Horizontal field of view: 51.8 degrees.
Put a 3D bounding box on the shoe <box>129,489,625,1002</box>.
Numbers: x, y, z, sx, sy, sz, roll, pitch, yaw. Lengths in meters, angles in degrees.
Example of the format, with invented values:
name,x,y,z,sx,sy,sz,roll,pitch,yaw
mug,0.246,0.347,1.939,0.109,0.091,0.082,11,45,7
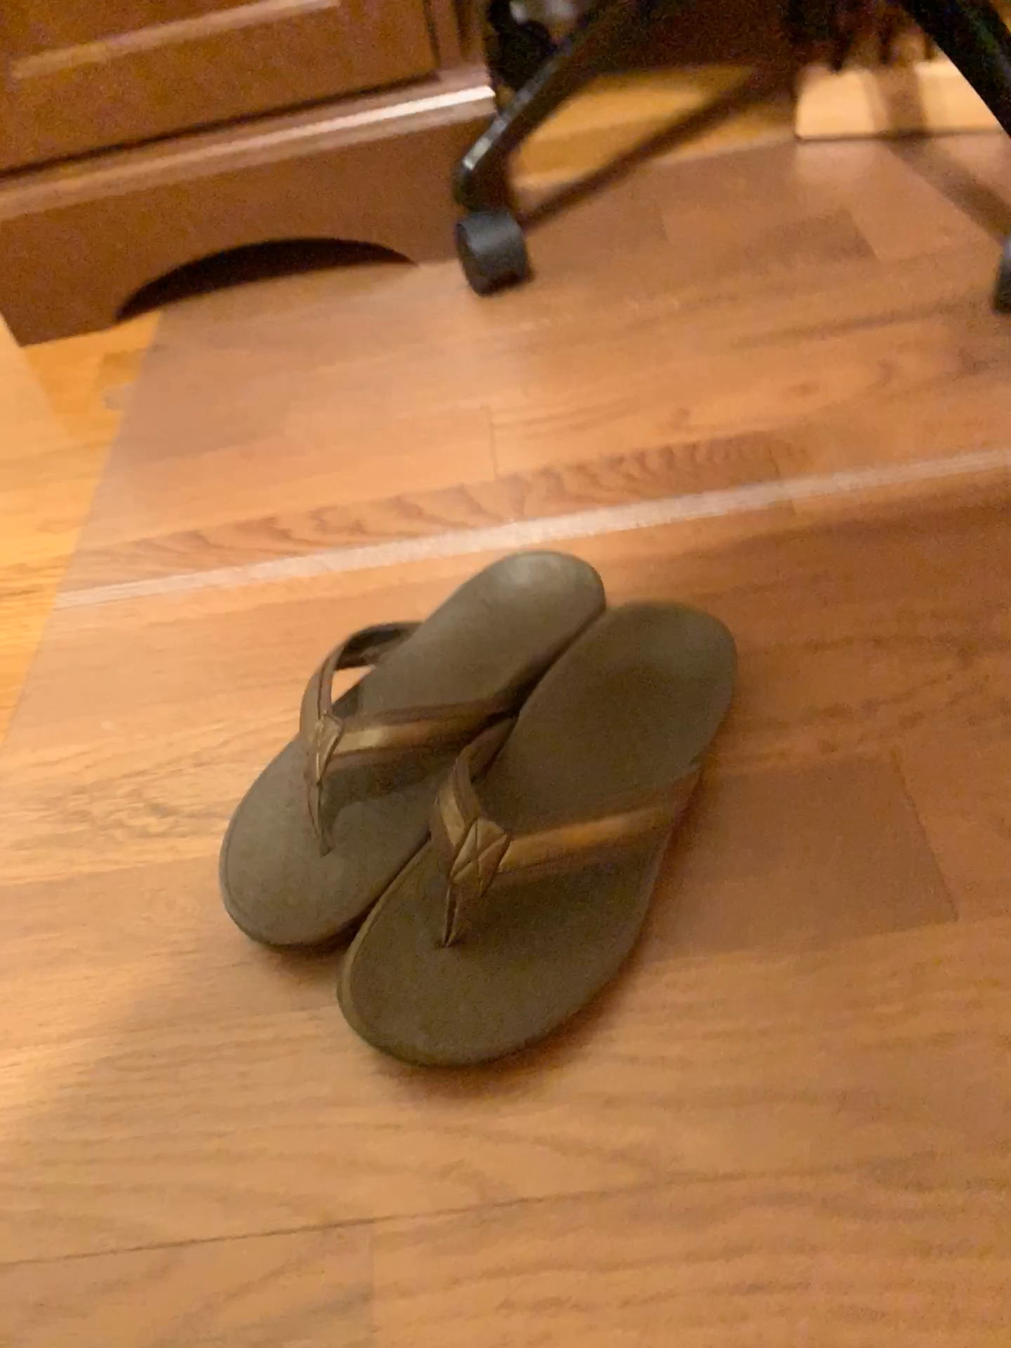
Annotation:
name,x,y,z,sx,sy,sz,roll,pitch,yaw
shoe,-0.047,0.017,0.491,0.092,0.049,0.252,21,56,29

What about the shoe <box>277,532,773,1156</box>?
name,x,y,z,sx,sy,sz,roll,pitch,yaw
shoe,0.024,0.052,0.437,0.100,0.061,0.248,15,54,25
